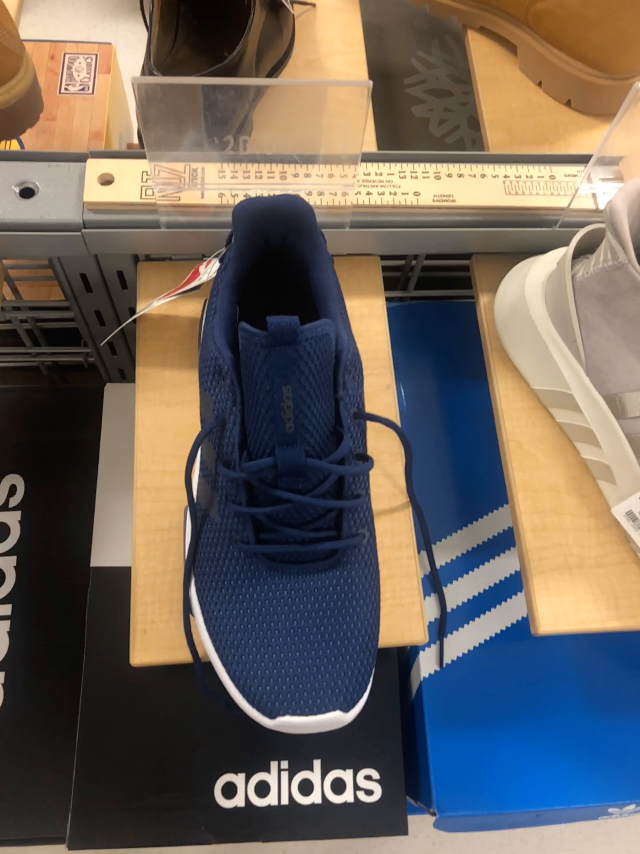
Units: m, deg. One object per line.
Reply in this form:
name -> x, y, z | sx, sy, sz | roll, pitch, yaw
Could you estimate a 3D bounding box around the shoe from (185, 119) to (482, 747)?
shoe -> -0.009, 0.003, 0.389 | 0.112, 0.146, 0.304 | -2, 67, -6
